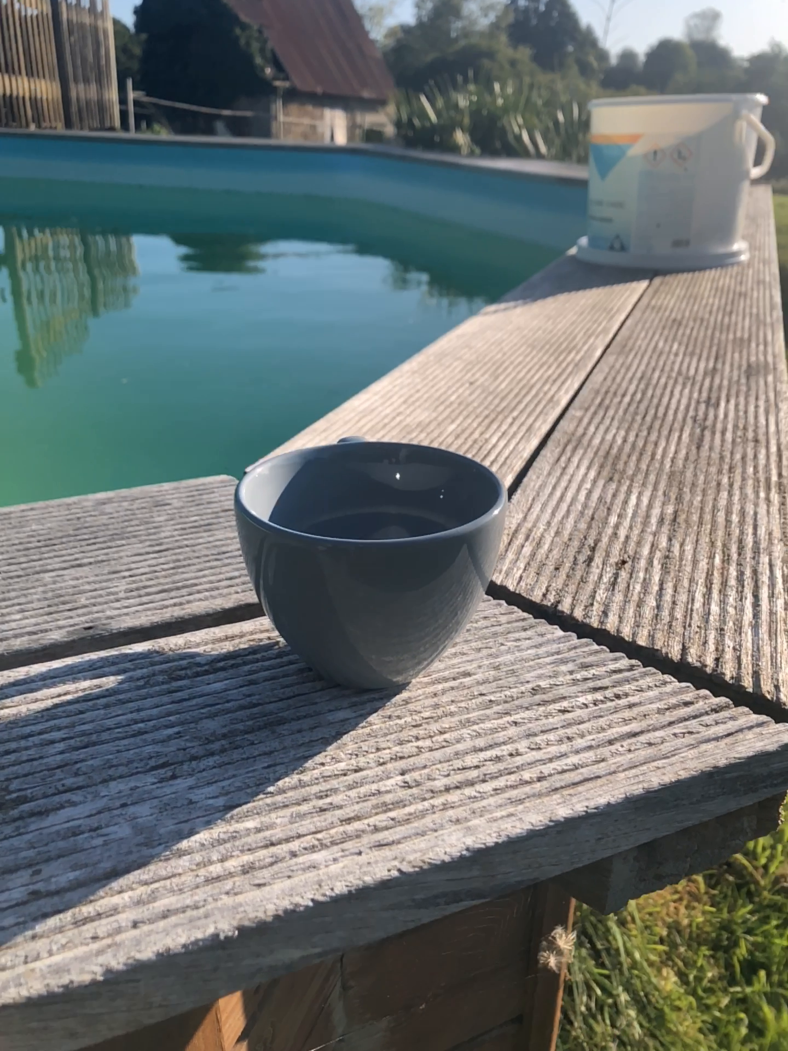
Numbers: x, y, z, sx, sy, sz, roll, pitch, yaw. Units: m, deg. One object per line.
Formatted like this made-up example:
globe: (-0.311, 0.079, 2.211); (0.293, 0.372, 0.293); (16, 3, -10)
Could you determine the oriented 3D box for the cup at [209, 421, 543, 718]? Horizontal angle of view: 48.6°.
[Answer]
cup: (-0.001, 0.008, 0.295); (0.091, 0.052, 0.106); (3, 25, 4)
